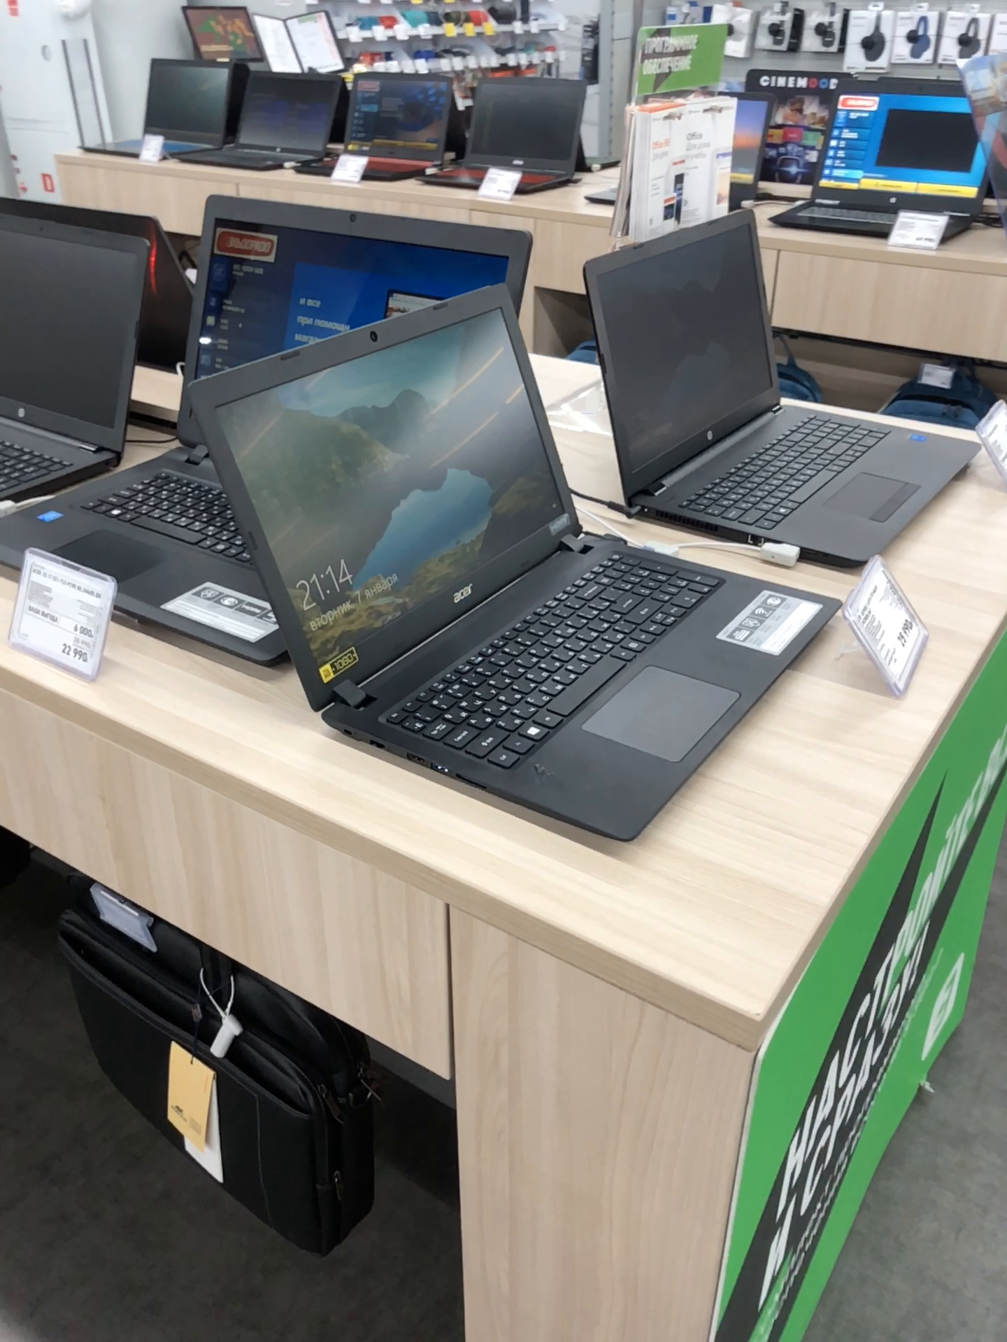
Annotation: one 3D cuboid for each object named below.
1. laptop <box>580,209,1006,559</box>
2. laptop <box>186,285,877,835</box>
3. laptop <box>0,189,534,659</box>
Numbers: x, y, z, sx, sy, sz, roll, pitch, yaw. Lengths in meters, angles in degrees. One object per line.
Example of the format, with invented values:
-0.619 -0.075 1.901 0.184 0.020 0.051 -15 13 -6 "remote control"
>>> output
0.313 -0.324 1.170 0.295 0.220 0.360 21 37 28 "laptop"
0.036 -0.125 0.846 0.347 0.219 0.376 19 36 28 "laptop"
-0.251 -0.269 1.045 0.401 0.250 0.397 19 38 28 "laptop"
